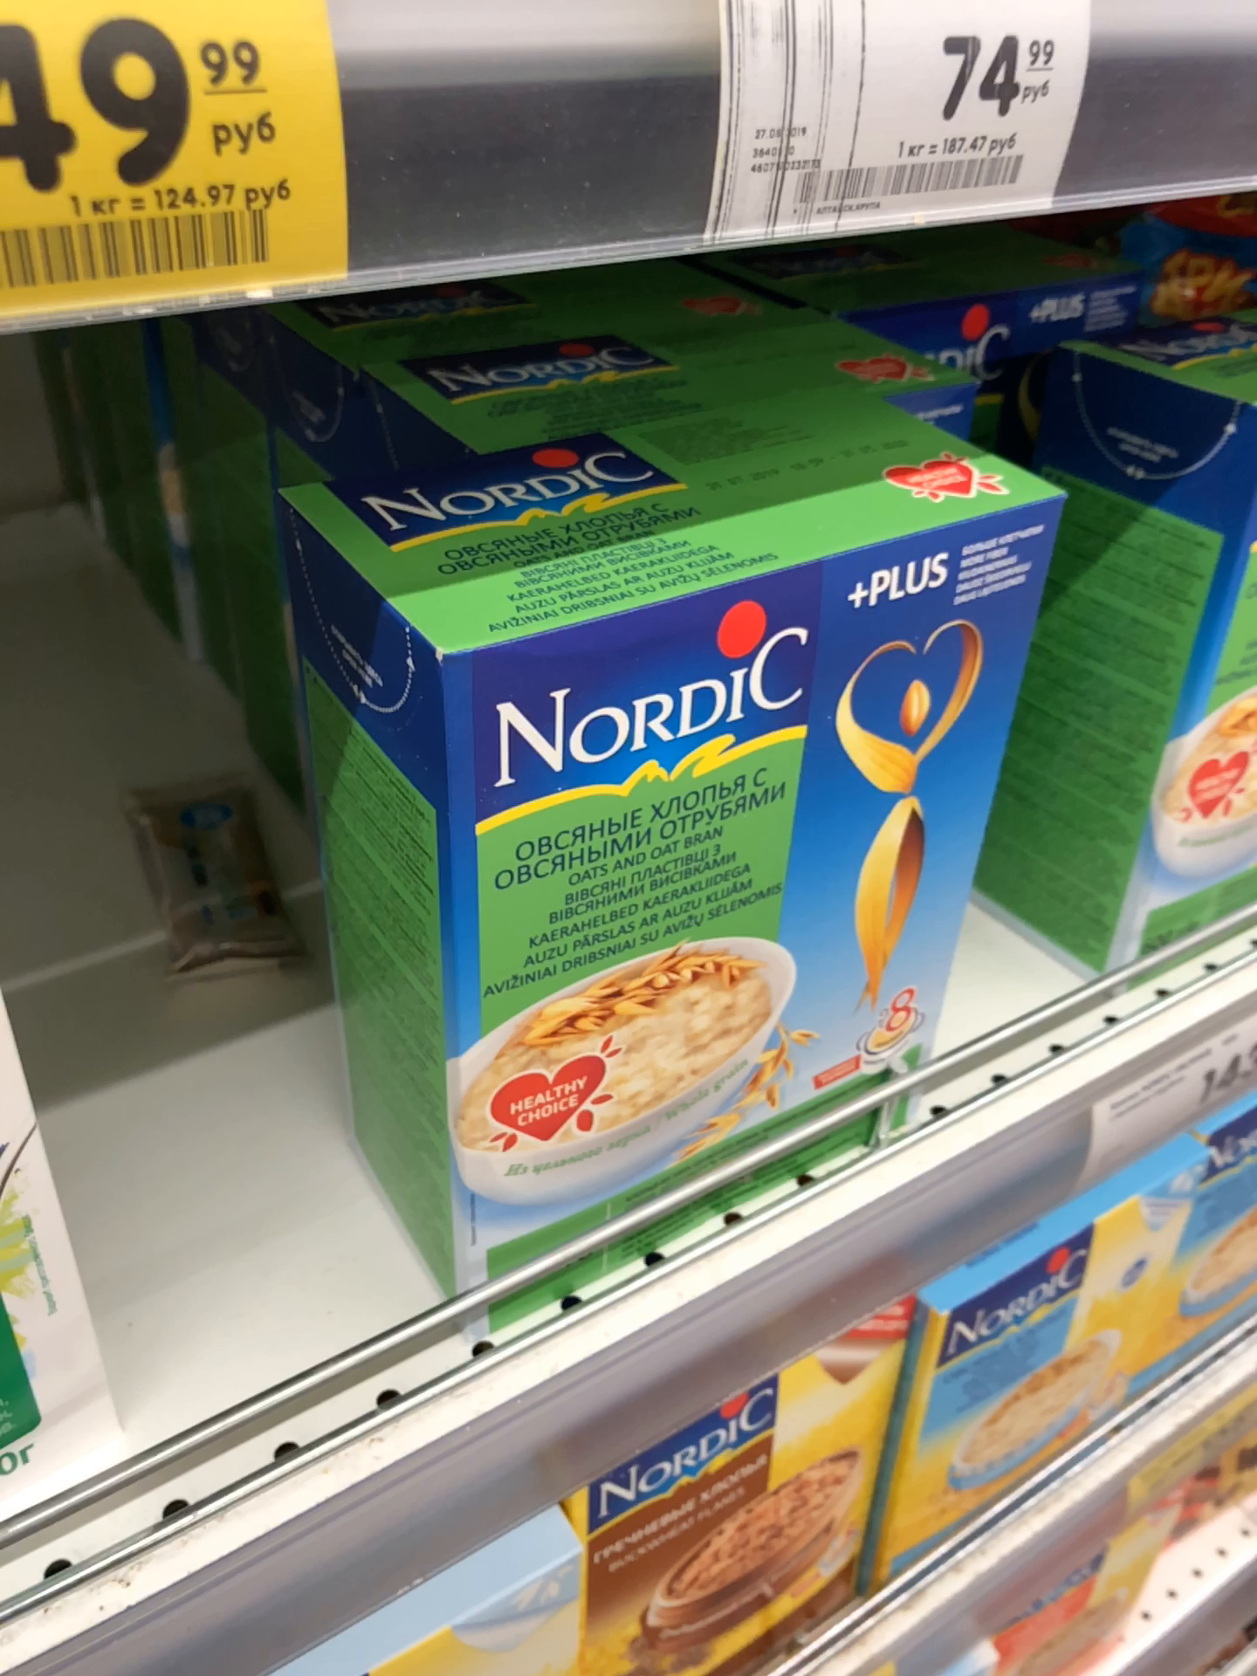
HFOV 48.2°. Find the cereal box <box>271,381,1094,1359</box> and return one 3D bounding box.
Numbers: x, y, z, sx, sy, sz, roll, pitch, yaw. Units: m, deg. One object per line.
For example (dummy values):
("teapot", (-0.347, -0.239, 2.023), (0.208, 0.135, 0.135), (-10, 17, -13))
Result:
("cereal box", (0.010, 0.007, 0.333), (0.150, 0.189, 0.070), (-19, 41, -27))
